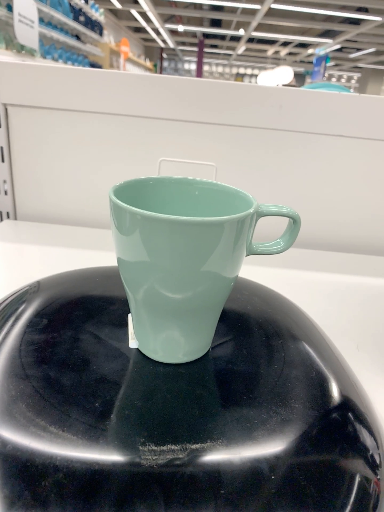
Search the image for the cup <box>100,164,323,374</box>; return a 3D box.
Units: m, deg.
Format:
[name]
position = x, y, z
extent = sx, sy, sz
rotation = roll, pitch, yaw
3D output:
[cup]
position = 0.002, 0.001, 0.252
extent = 0.110, 0.100, 0.080
rotation = -2, 22, -18
